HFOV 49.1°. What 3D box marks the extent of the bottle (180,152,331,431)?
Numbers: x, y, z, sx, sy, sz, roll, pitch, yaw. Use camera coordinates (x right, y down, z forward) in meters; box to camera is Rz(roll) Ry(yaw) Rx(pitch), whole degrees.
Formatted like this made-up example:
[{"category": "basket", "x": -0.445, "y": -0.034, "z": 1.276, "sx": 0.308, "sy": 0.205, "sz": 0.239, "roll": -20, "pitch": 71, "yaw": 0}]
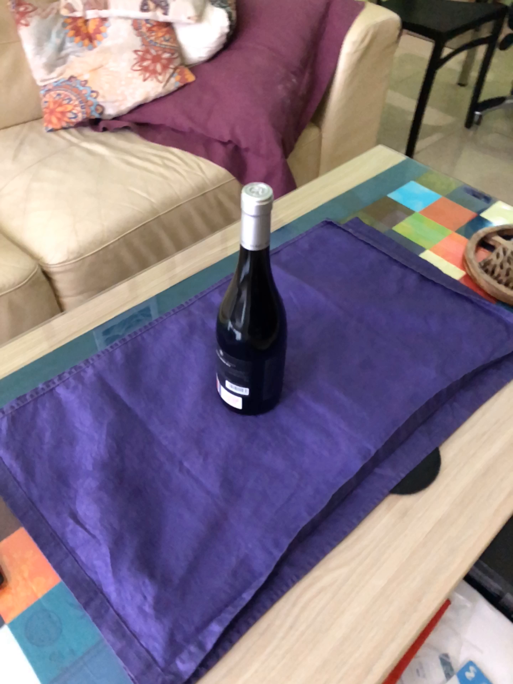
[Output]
[{"category": "bottle", "x": -0.007, "y": -0.039, "z": 0.579, "sx": 0.100, "sy": 0.269, "sz": 0.100, "roll": 1, "pitch": 47, "yaw": -1}]
